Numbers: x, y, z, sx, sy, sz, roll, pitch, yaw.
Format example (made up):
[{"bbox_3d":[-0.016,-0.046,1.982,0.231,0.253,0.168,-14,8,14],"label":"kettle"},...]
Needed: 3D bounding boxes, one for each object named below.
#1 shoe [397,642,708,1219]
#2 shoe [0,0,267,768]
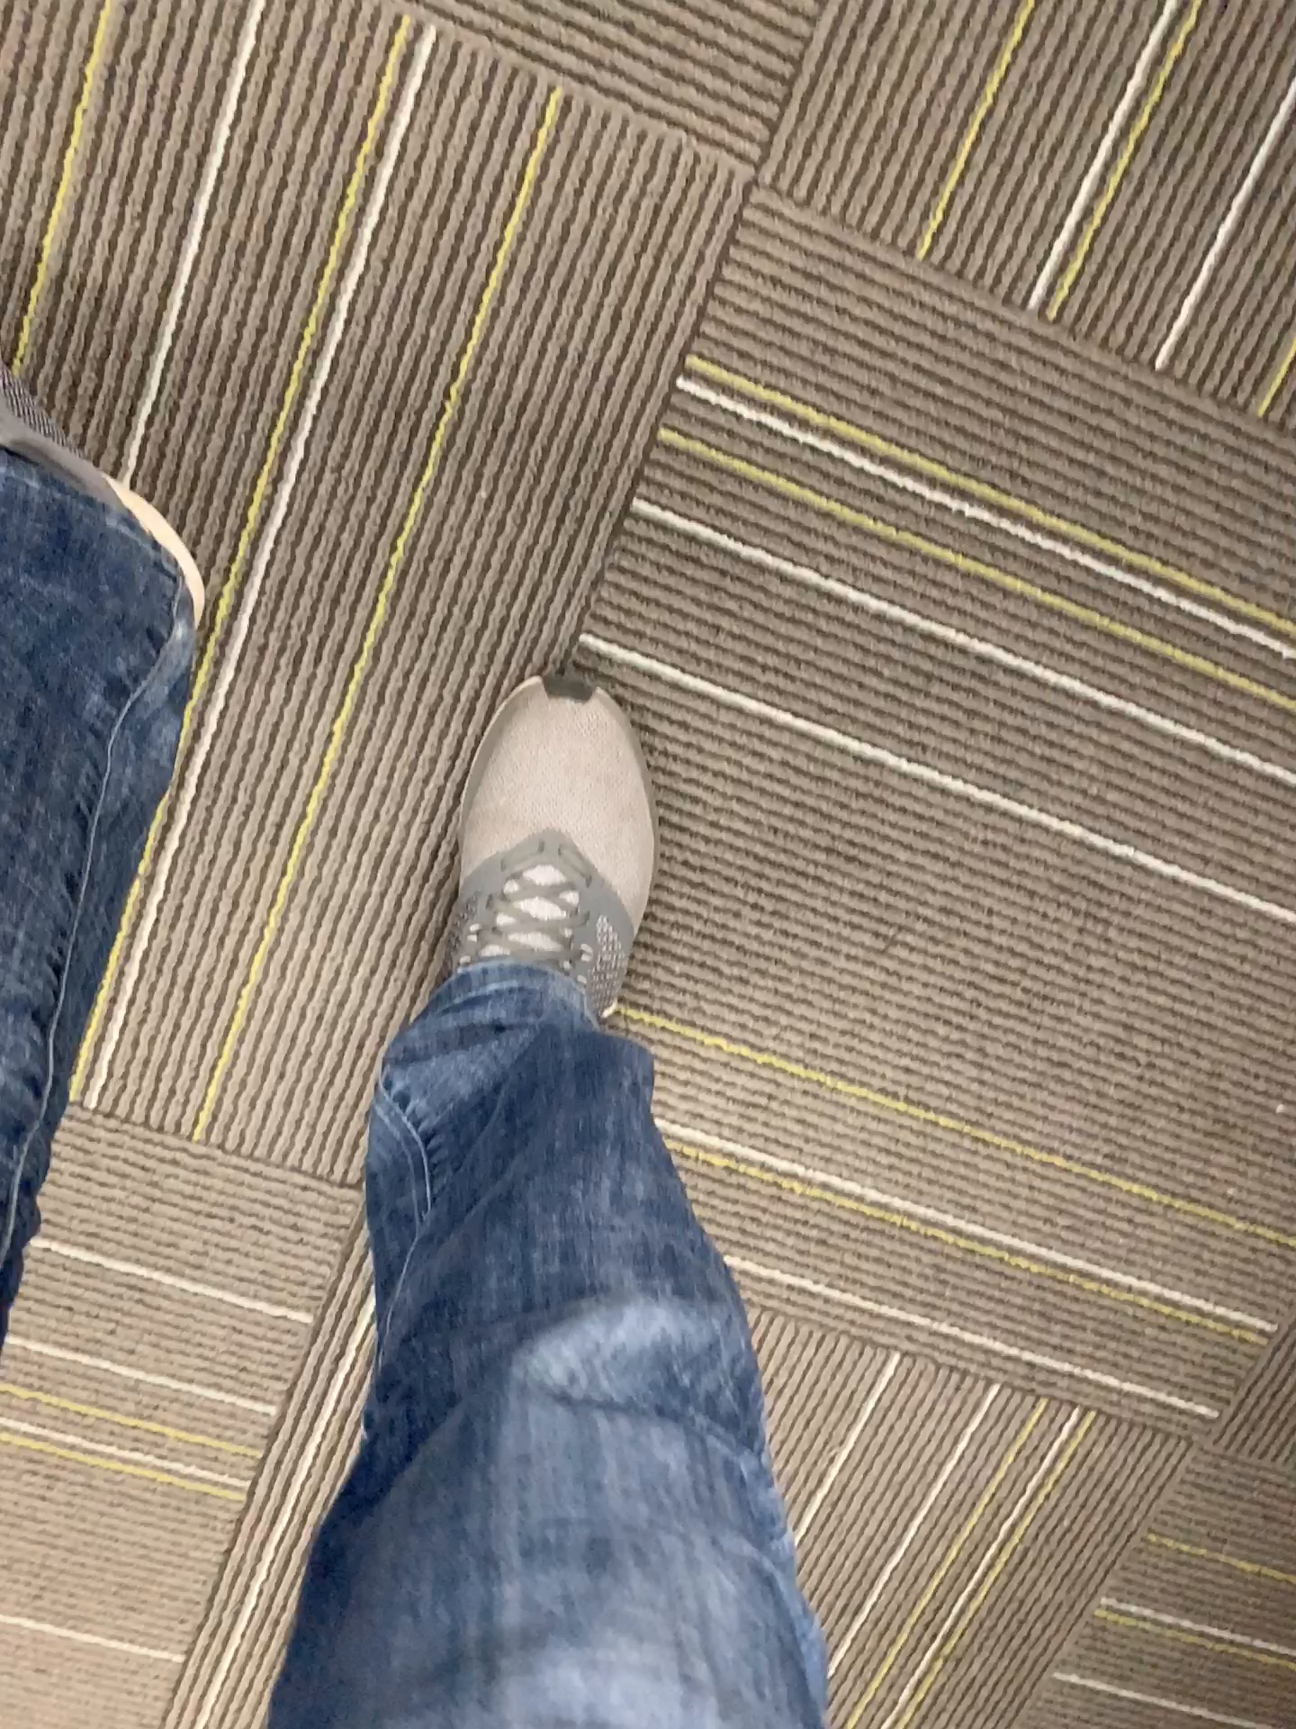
[{"bbox_3d":[-0.058,0.040,0.750,0.128,0.093,0.300,7,109,-6],"label":"shoe"},{"bbox_3d":[-0.349,-0.215,0.630,0.131,0.093,0.313,-38,107,9],"label":"shoe"}]
